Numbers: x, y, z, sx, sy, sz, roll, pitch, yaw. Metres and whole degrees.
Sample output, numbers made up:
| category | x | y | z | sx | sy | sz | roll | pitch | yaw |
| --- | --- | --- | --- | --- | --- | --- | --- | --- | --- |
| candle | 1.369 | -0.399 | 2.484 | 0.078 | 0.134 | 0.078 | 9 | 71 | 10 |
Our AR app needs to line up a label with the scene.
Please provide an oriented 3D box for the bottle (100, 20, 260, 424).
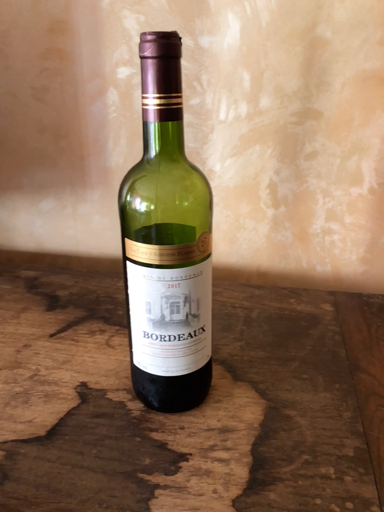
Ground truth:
| category | x | y | z | sx | sy | sz | roll | pitch | yaw |
| --- | --- | --- | --- | --- | --- | --- | --- | --- | --- |
| bottle | -0.016 | -0.015 | 0.333 | 0.090 | 0.288 | 0.080 | -4 | 24 | -13 |
